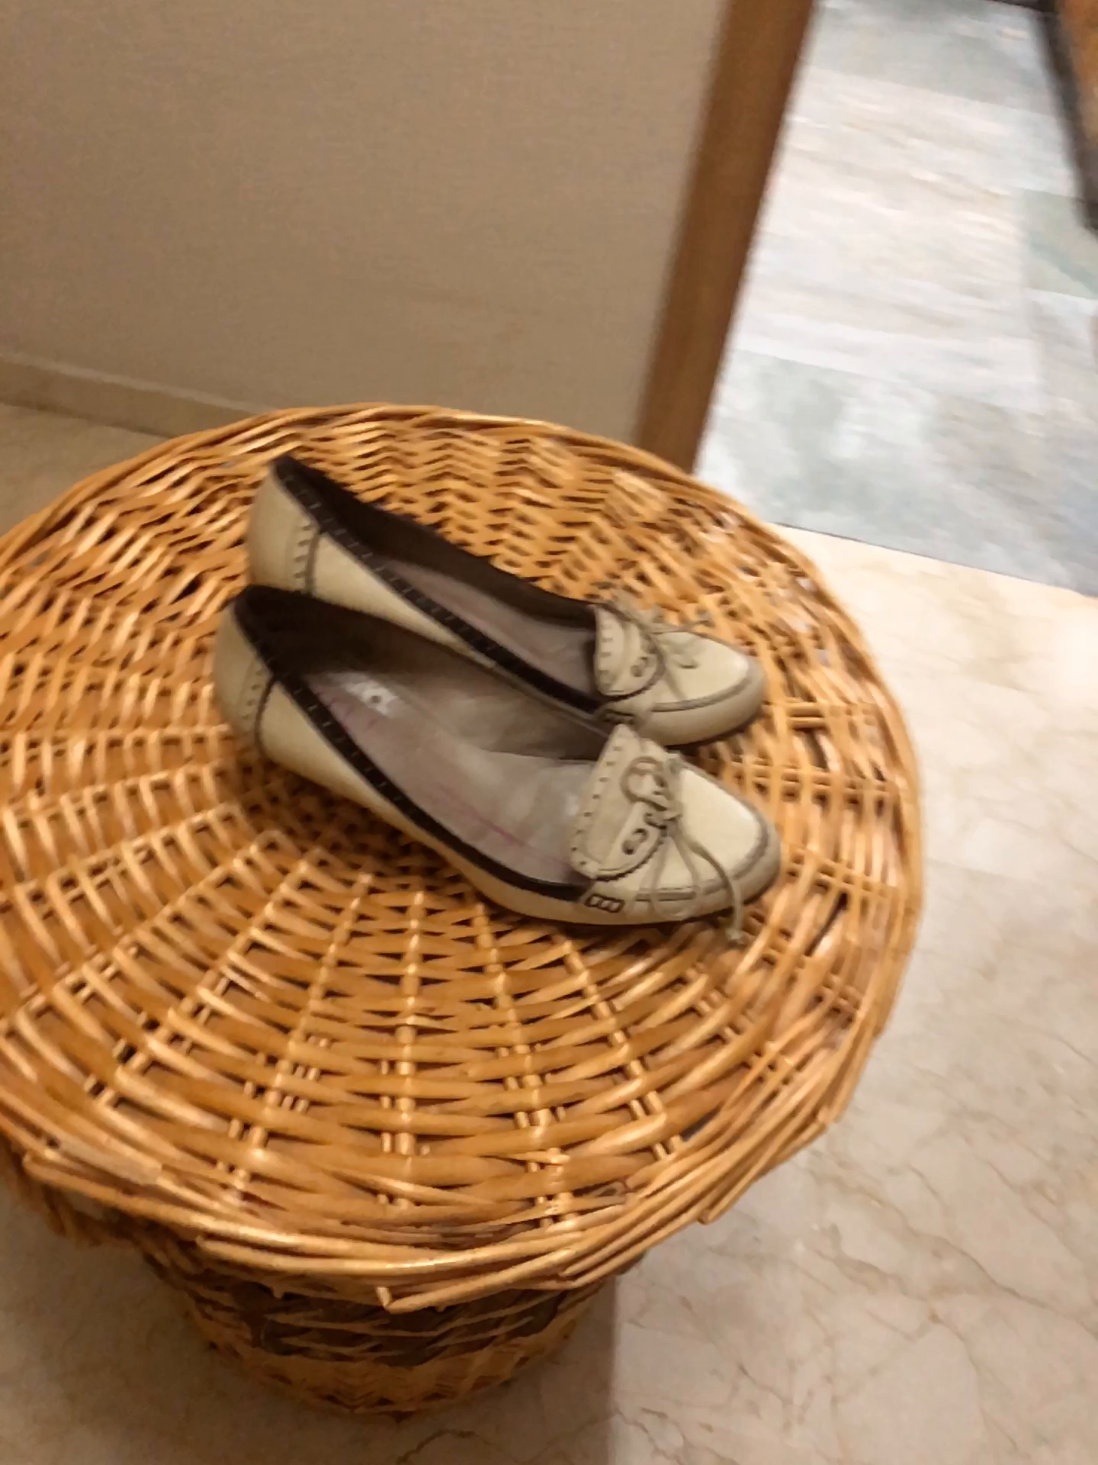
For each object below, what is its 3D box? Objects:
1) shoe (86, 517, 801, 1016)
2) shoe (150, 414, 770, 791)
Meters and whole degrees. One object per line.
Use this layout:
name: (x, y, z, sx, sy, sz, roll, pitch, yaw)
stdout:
shoe: (-0.041, 0.015, 0.518, 0.260, 0.110, 0.100, 16, 53, 5)
shoe: (-0.036, -0.061, 0.574, 0.260, 0.090, 0.100, 10, 53, 0)
